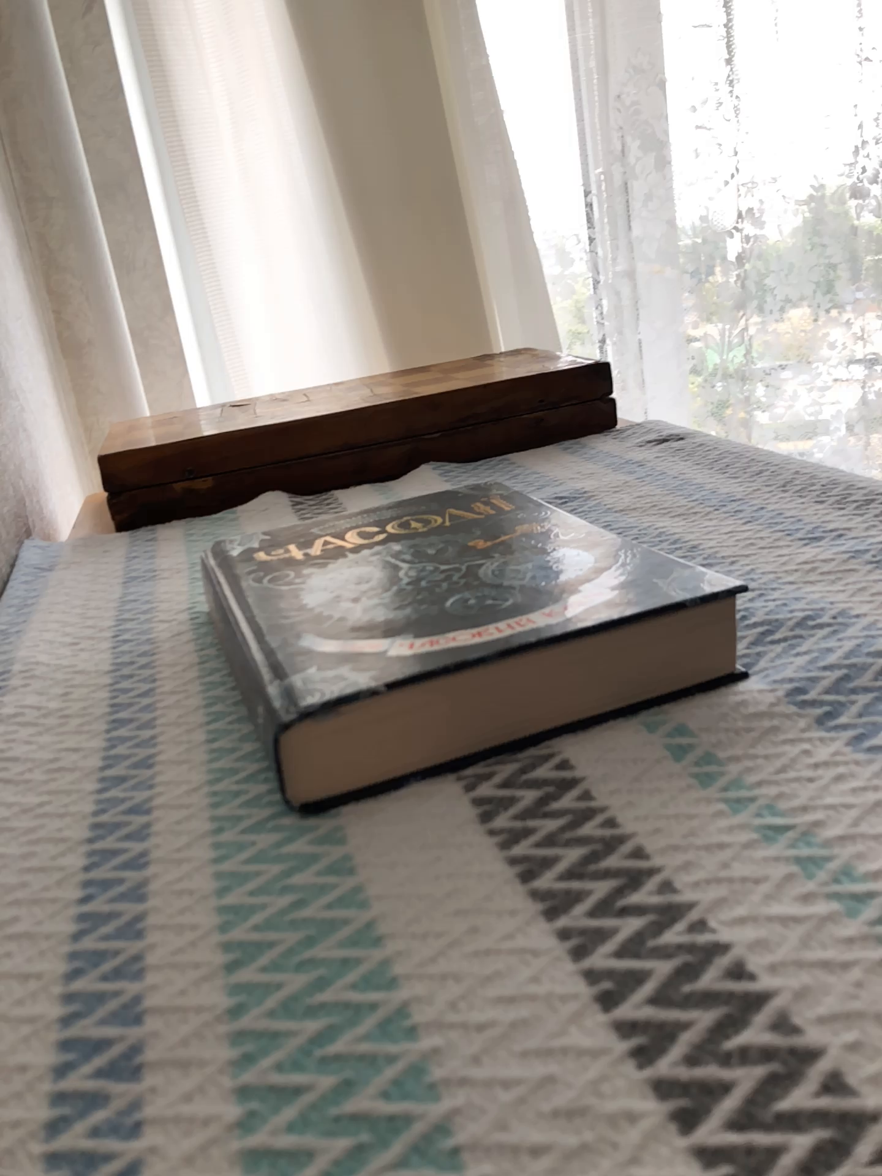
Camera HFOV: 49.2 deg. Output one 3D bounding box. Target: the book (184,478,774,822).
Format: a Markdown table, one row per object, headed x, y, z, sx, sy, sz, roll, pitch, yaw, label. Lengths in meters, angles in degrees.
| x | y | z | sx | sy | sz | roll | pitch | yaw | label |
| --- | --- | --- | --- | --- | --- | --- | --- | --- | --- |
| -0.007 | 0.004 | 0.418 | 0.178 | 0.032 | 0.239 | -14 | 19 | -16 | book |
